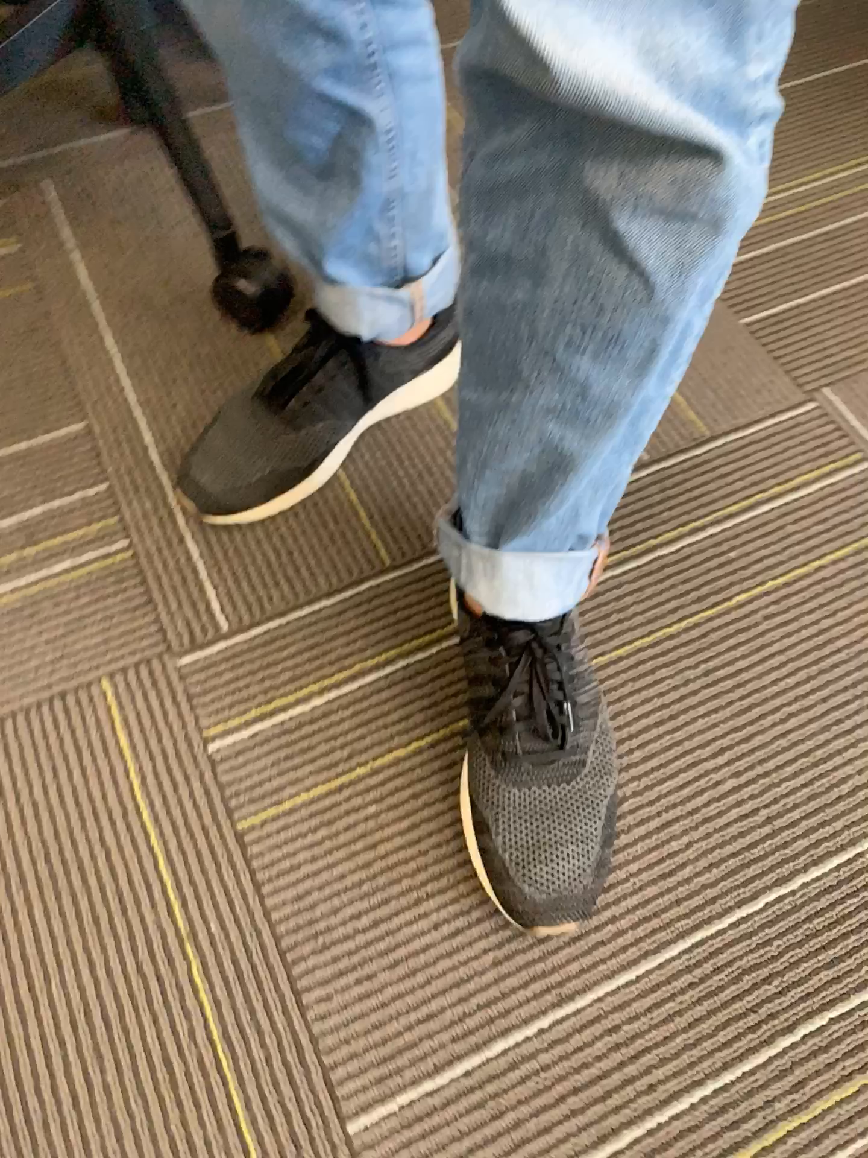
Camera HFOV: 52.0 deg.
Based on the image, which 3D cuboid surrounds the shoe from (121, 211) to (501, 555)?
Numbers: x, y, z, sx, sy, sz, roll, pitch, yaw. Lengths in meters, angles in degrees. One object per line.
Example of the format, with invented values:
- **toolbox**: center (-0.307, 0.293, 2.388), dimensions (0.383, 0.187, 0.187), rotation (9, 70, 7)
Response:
- **shoe**: center (-0.092, -0.173, 0.763), dimensions (0.306, 0.106, 0.110), rotation (-40, 68, -20)

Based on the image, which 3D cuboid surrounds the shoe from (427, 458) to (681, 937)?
- **shoe**: center (0.068, 0.075, 0.627), dimensions (0.112, 0.106, 0.307), rotation (-6, 61, -3)
